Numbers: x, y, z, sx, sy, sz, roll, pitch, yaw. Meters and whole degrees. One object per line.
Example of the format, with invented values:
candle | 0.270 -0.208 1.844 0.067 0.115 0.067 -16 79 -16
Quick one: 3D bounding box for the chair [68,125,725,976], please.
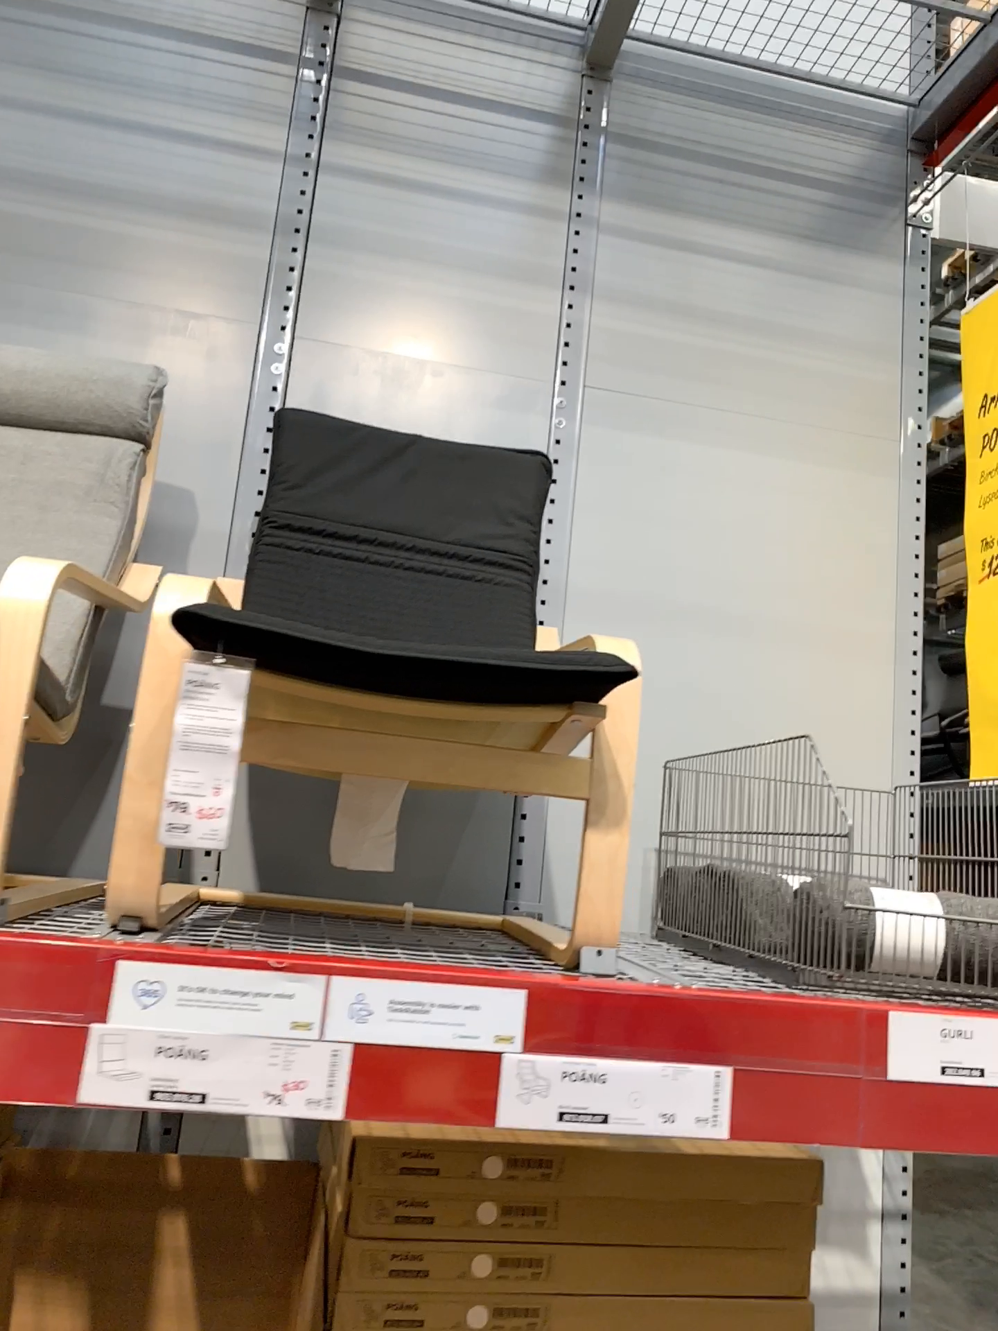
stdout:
chair | -0.164 -0.095 1.699 0.720 1.013 0.838 8 -10 -11
